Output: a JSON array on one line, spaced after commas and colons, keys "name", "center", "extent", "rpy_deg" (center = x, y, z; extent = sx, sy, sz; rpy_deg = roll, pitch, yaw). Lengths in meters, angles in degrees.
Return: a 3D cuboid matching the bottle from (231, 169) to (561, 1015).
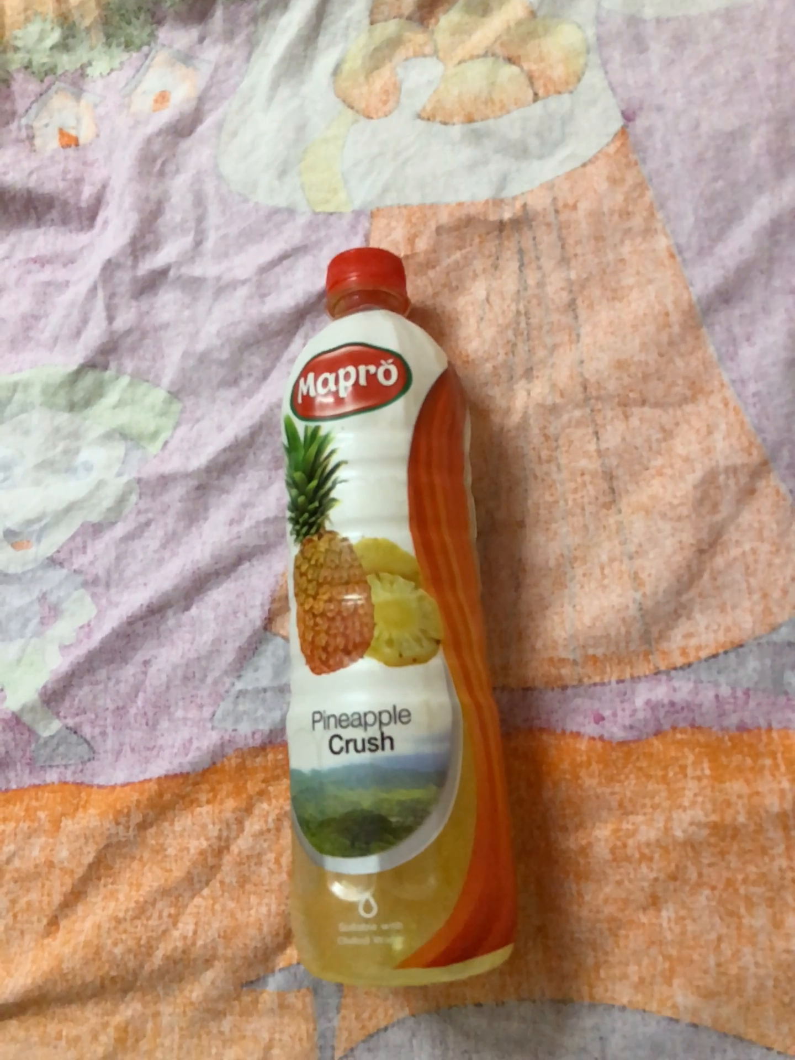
[{"name": "bottle", "center": [-0.002, 0.016, 0.295], "extent": [0.080, 0.060, 0.250], "rpy_deg": [-8, 78, 16]}]
